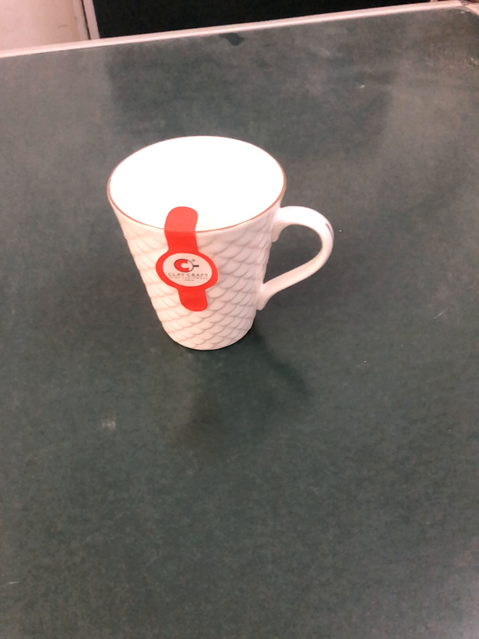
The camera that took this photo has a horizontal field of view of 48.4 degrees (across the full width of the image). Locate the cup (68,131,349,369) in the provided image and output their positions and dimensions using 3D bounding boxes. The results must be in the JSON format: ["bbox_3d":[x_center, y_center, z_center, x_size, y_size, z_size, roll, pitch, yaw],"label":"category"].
[{"bbox_3d":[-0.009,-0.037,0.285,0.120,0.090,0.080,4,46,6],"label":"cup"}]
